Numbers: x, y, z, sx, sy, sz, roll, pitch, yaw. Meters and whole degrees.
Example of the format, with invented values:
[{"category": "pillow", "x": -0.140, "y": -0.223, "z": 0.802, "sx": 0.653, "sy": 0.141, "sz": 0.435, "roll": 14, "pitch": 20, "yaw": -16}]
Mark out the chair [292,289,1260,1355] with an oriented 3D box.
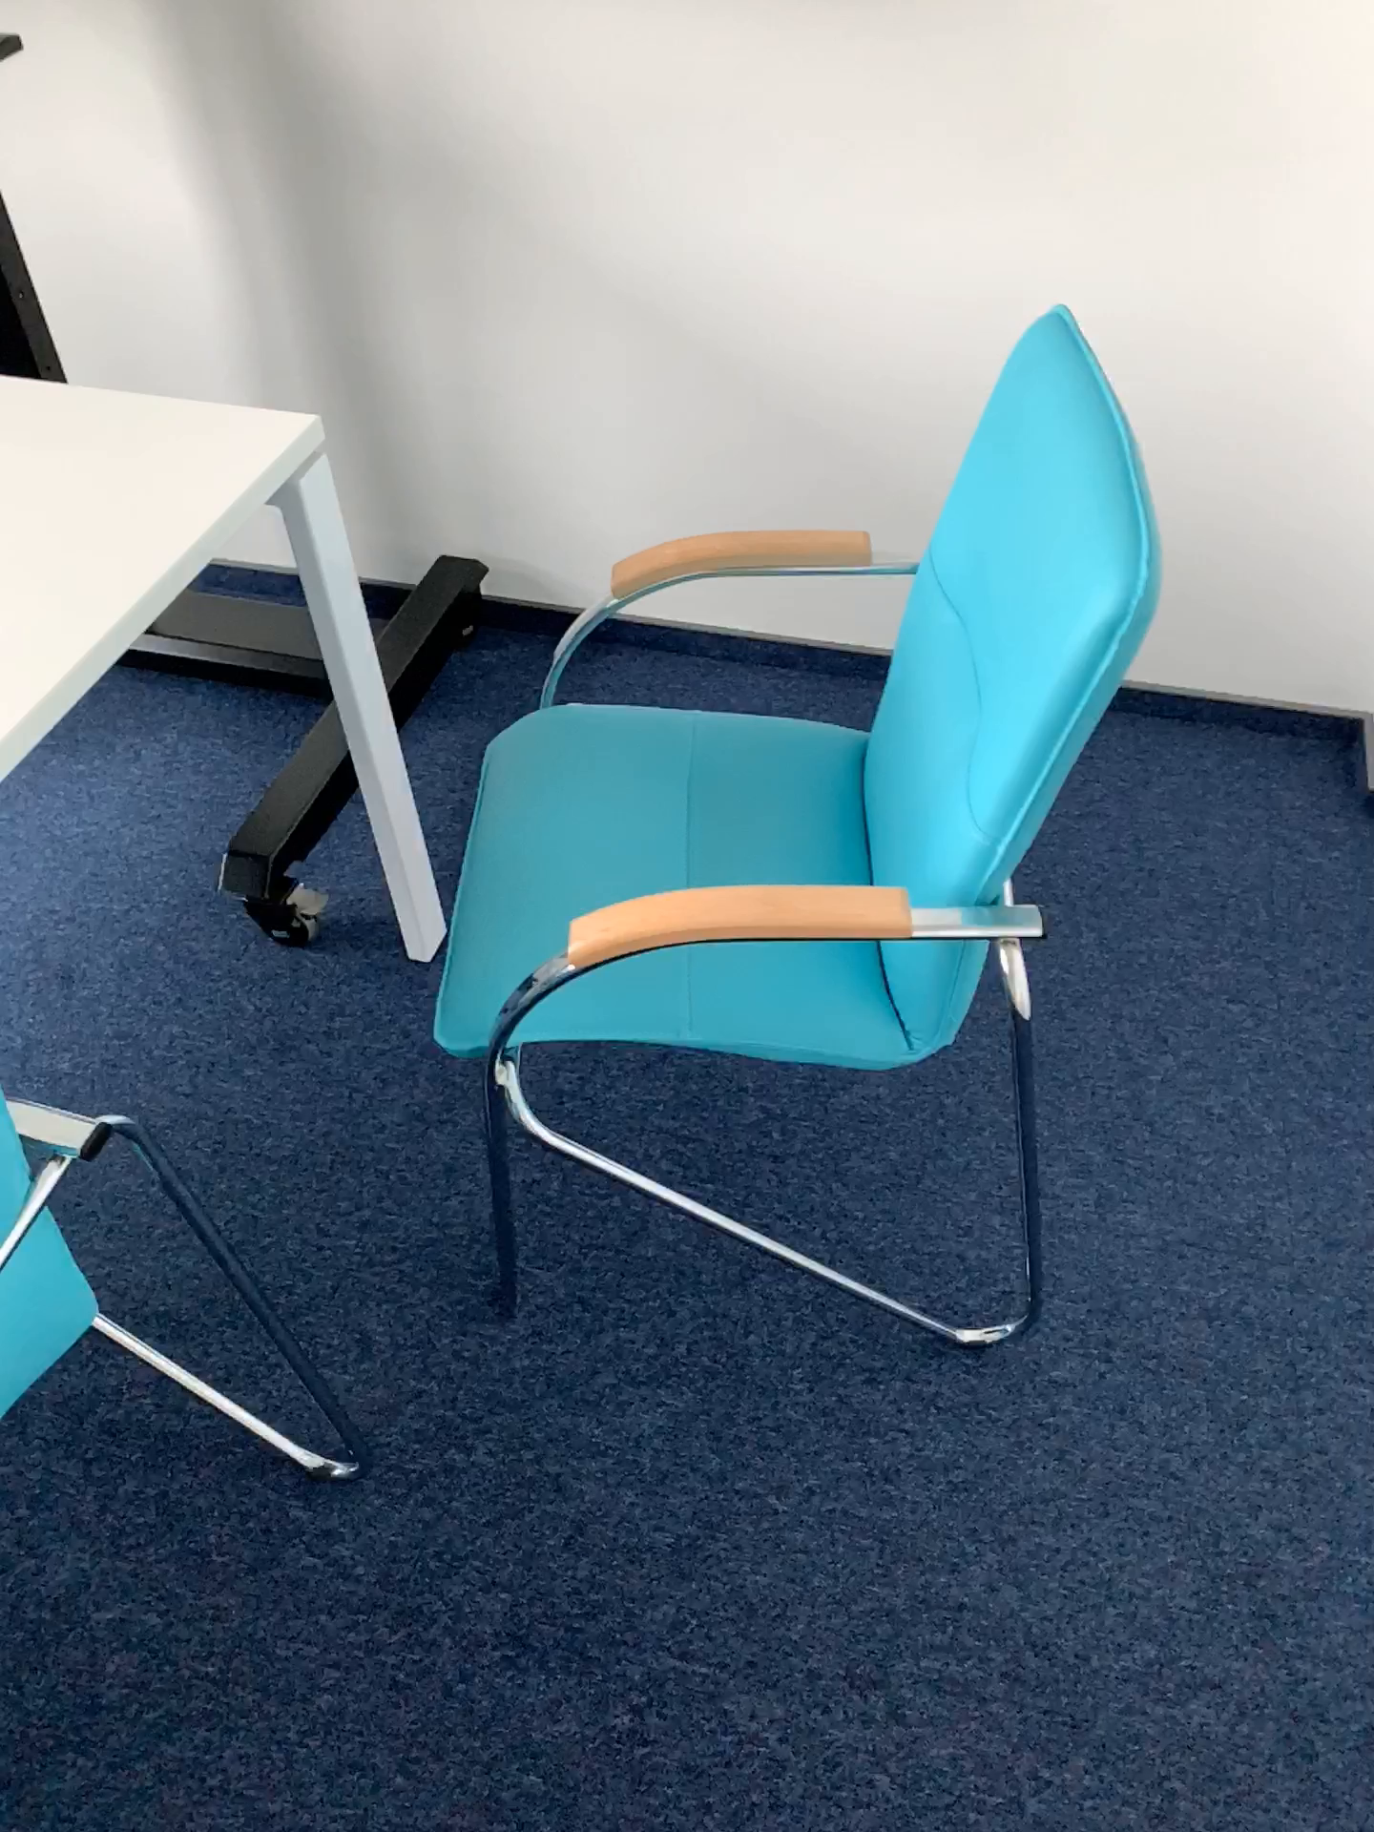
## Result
[{"category": "chair", "x": 0.073, "y": -0.062, "z": 1.392, "sx": 0.600, "sy": 0.845, "sz": 0.623, "roll": 1, "pitch": 46, "yaw": 2}]
